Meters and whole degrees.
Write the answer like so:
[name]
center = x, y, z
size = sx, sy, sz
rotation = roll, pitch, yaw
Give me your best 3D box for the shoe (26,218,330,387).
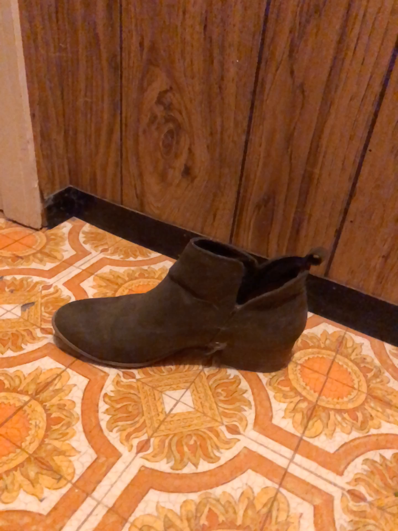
[shoe]
center = -0.022, 0.039, 0.444
size = 0.260, 0.130, 0.080
rotation = 4, 33, -3
